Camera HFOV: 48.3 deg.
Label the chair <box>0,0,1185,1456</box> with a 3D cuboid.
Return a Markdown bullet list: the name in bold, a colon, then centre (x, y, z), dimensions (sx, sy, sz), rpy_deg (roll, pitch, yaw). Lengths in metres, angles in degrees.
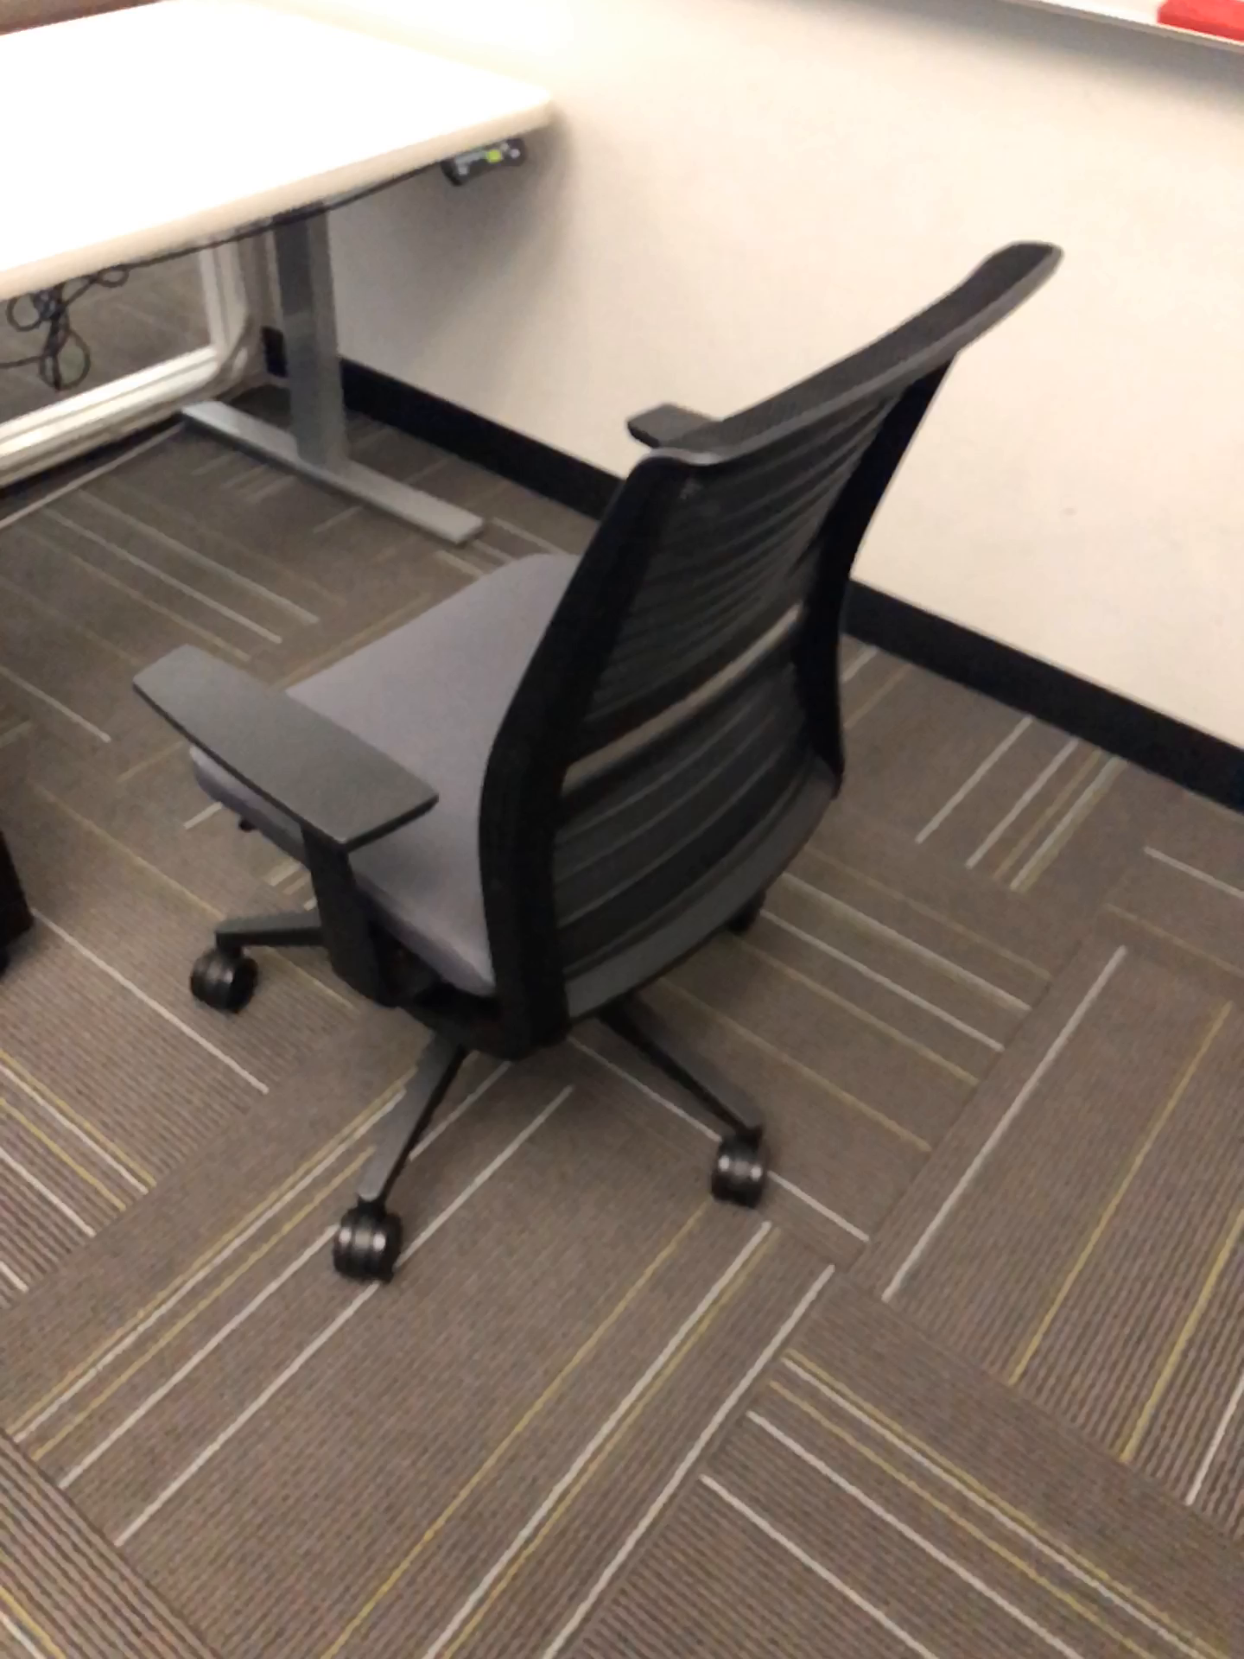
- **chair**: centre (-0.090, -0.130, 1.254), dimensions (0.681, 0.906, 0.722), rpy_deg (28, 47, 24)
